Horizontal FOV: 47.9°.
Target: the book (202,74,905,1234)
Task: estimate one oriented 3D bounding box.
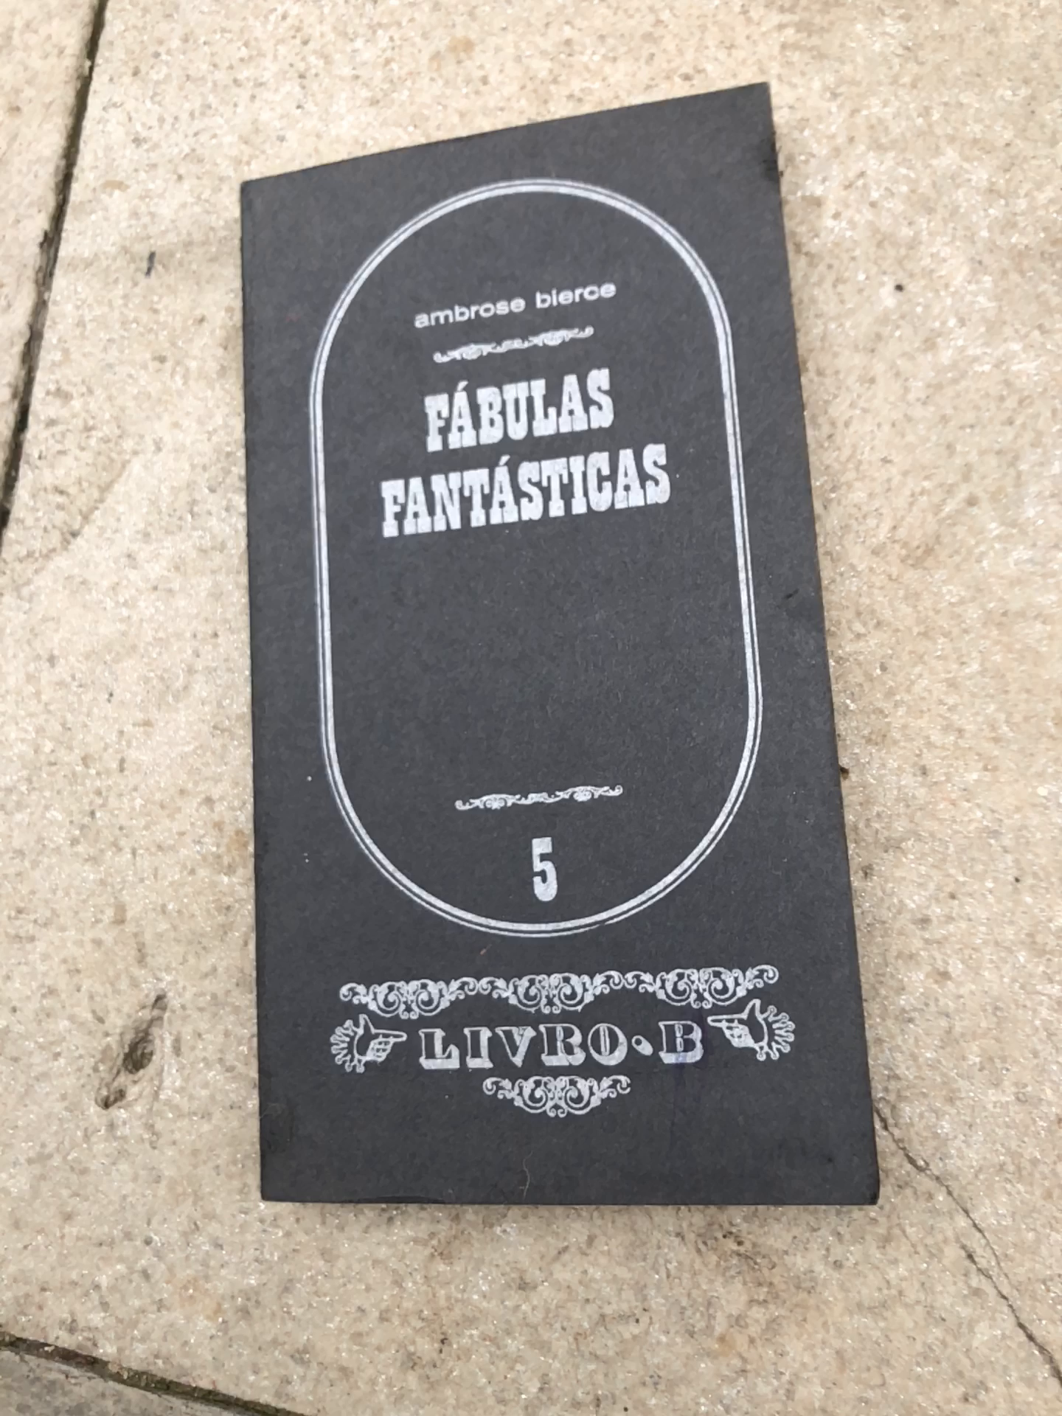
[{"bbox_3d":[-0.002,-0.009,0.195,0.104,0.013,0.176,-5,81,13],"label":"book"}]
